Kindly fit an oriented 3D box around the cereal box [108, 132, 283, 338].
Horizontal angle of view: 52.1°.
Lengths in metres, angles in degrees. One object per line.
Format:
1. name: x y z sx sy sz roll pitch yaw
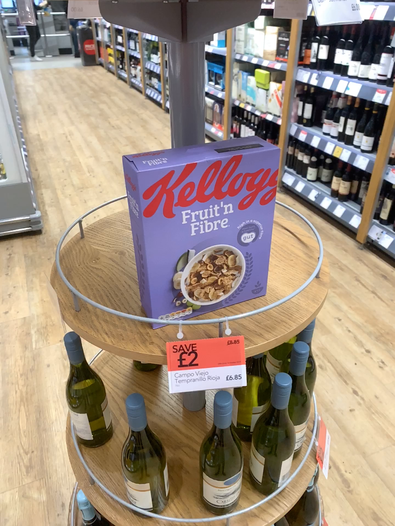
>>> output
1. cereal box: 0.000 -0.038 0.551 0.200 0.238 0.071 -14 35 -20
